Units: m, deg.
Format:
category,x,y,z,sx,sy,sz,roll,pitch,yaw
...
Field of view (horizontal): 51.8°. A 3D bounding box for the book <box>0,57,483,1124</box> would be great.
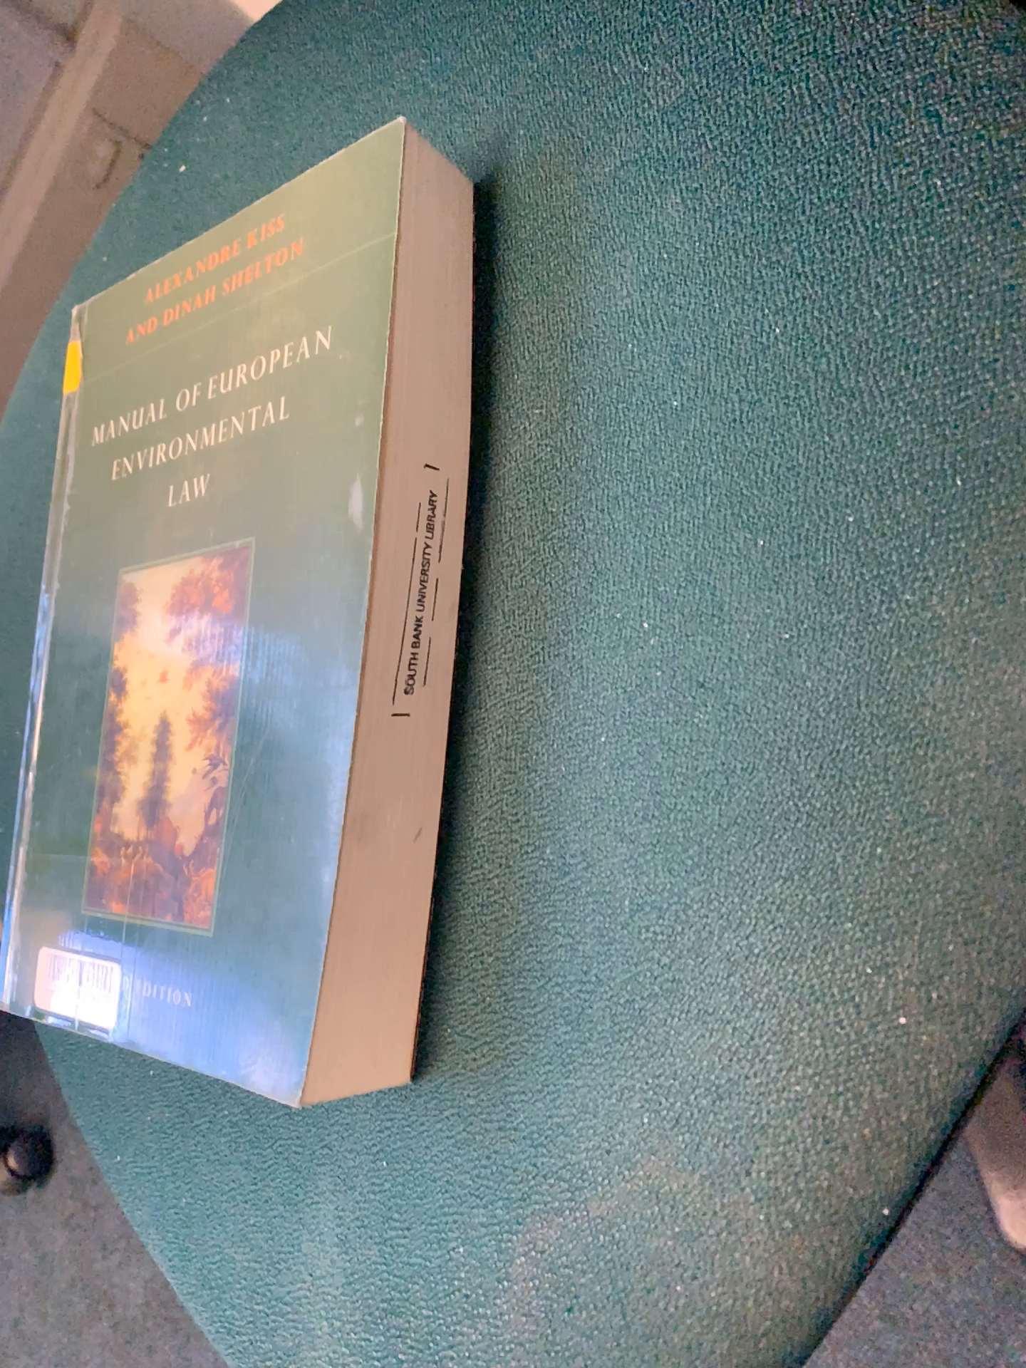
category,x,y,z,sx,sy,sz,roll,pitch,yaw
book,-0.094,-0.022,0.313,0.181,0.040,0.250,-6,78,39
